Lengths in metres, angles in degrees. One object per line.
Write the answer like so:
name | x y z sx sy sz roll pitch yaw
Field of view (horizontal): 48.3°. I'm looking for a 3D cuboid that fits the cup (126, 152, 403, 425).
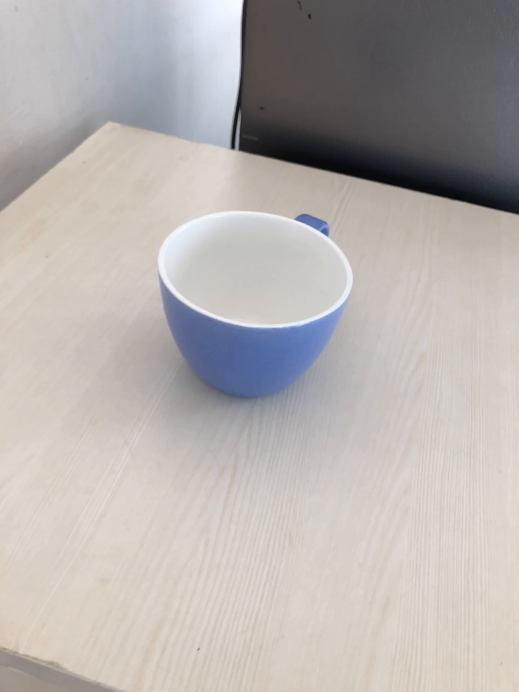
cup | 0.008 -0.045 0.356 0.100 0.070 0.151 25 46 17
